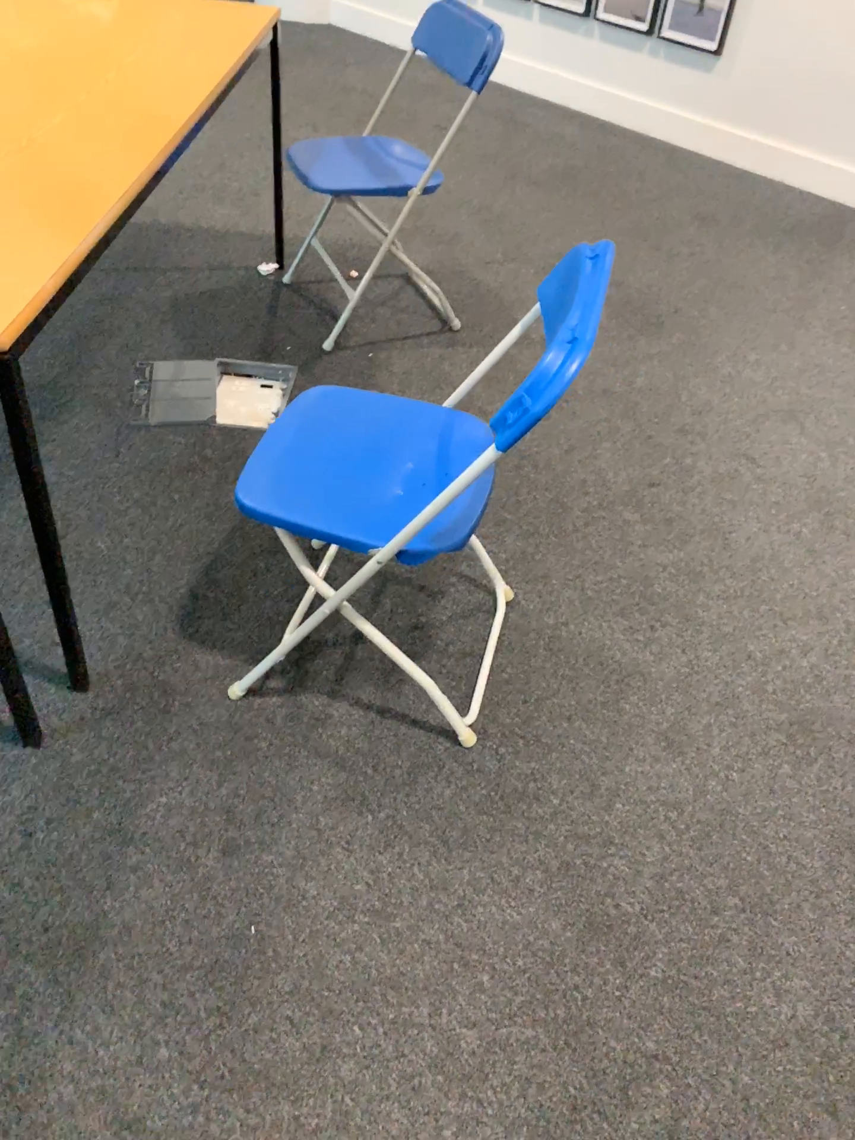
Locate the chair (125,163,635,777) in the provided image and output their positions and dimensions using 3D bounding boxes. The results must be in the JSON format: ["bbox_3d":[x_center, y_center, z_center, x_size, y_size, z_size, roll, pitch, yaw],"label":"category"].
[{"bbox_3d":[-0.045,-0.158,1.407,0.550,0.713,0.535,13,43,8],"label":"chair"}]
